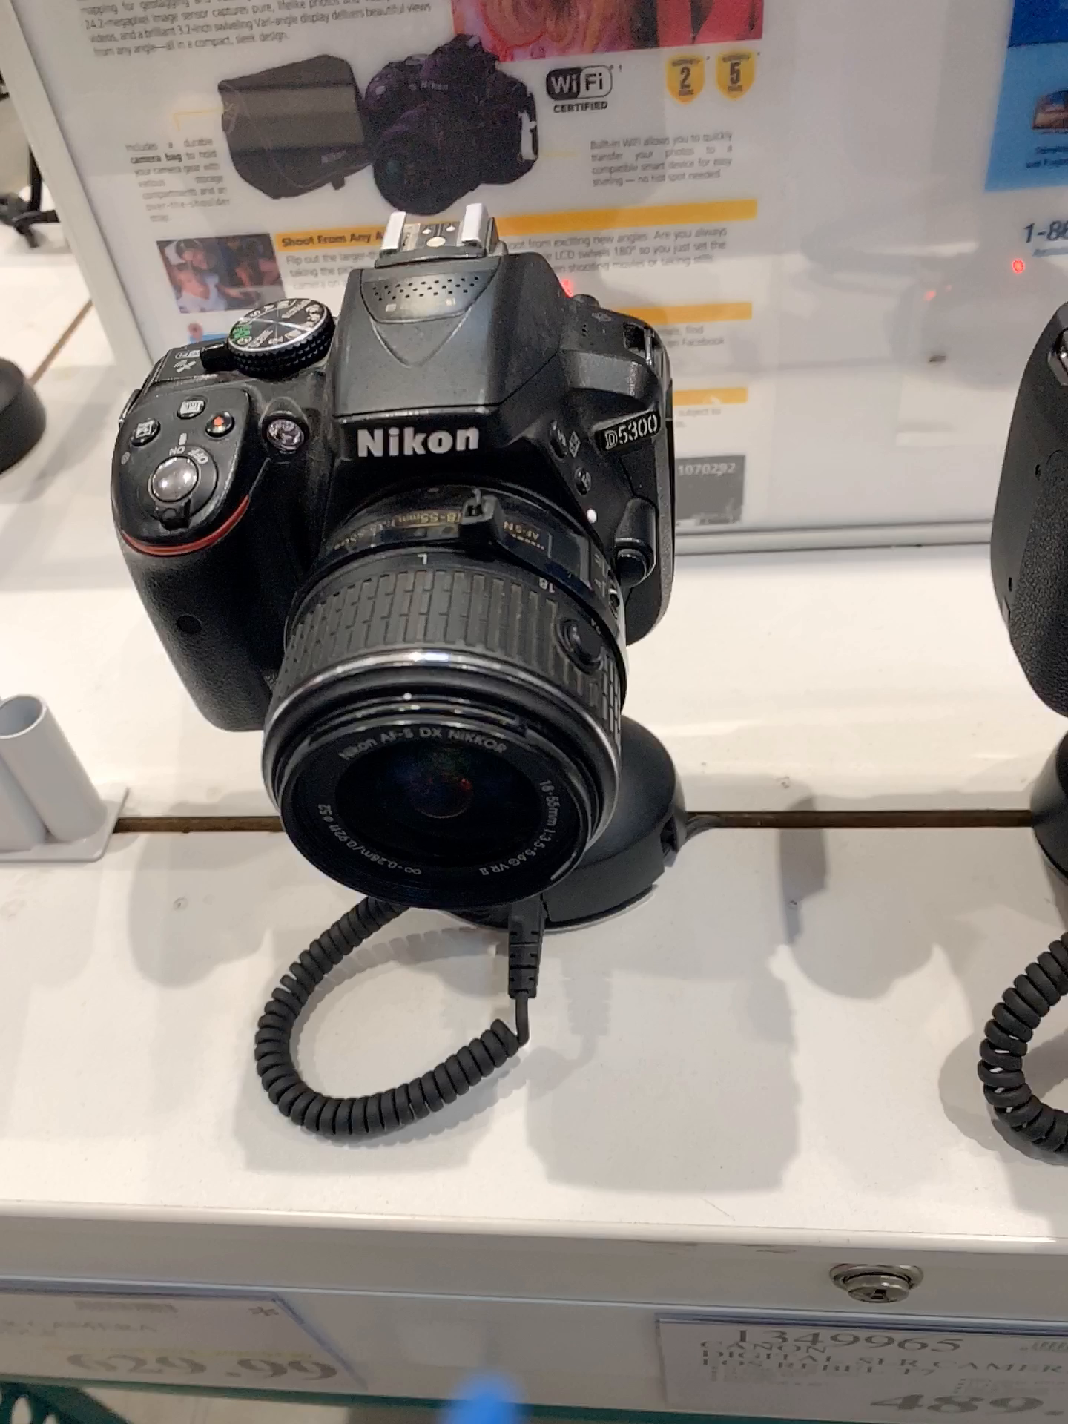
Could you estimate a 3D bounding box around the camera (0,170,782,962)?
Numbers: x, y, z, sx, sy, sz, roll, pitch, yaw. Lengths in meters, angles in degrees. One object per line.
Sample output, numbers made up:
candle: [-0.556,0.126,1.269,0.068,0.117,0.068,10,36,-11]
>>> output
camera: [-0.027,-0.036,0.213,0.120,0.069,0.141,-4,45,4]
